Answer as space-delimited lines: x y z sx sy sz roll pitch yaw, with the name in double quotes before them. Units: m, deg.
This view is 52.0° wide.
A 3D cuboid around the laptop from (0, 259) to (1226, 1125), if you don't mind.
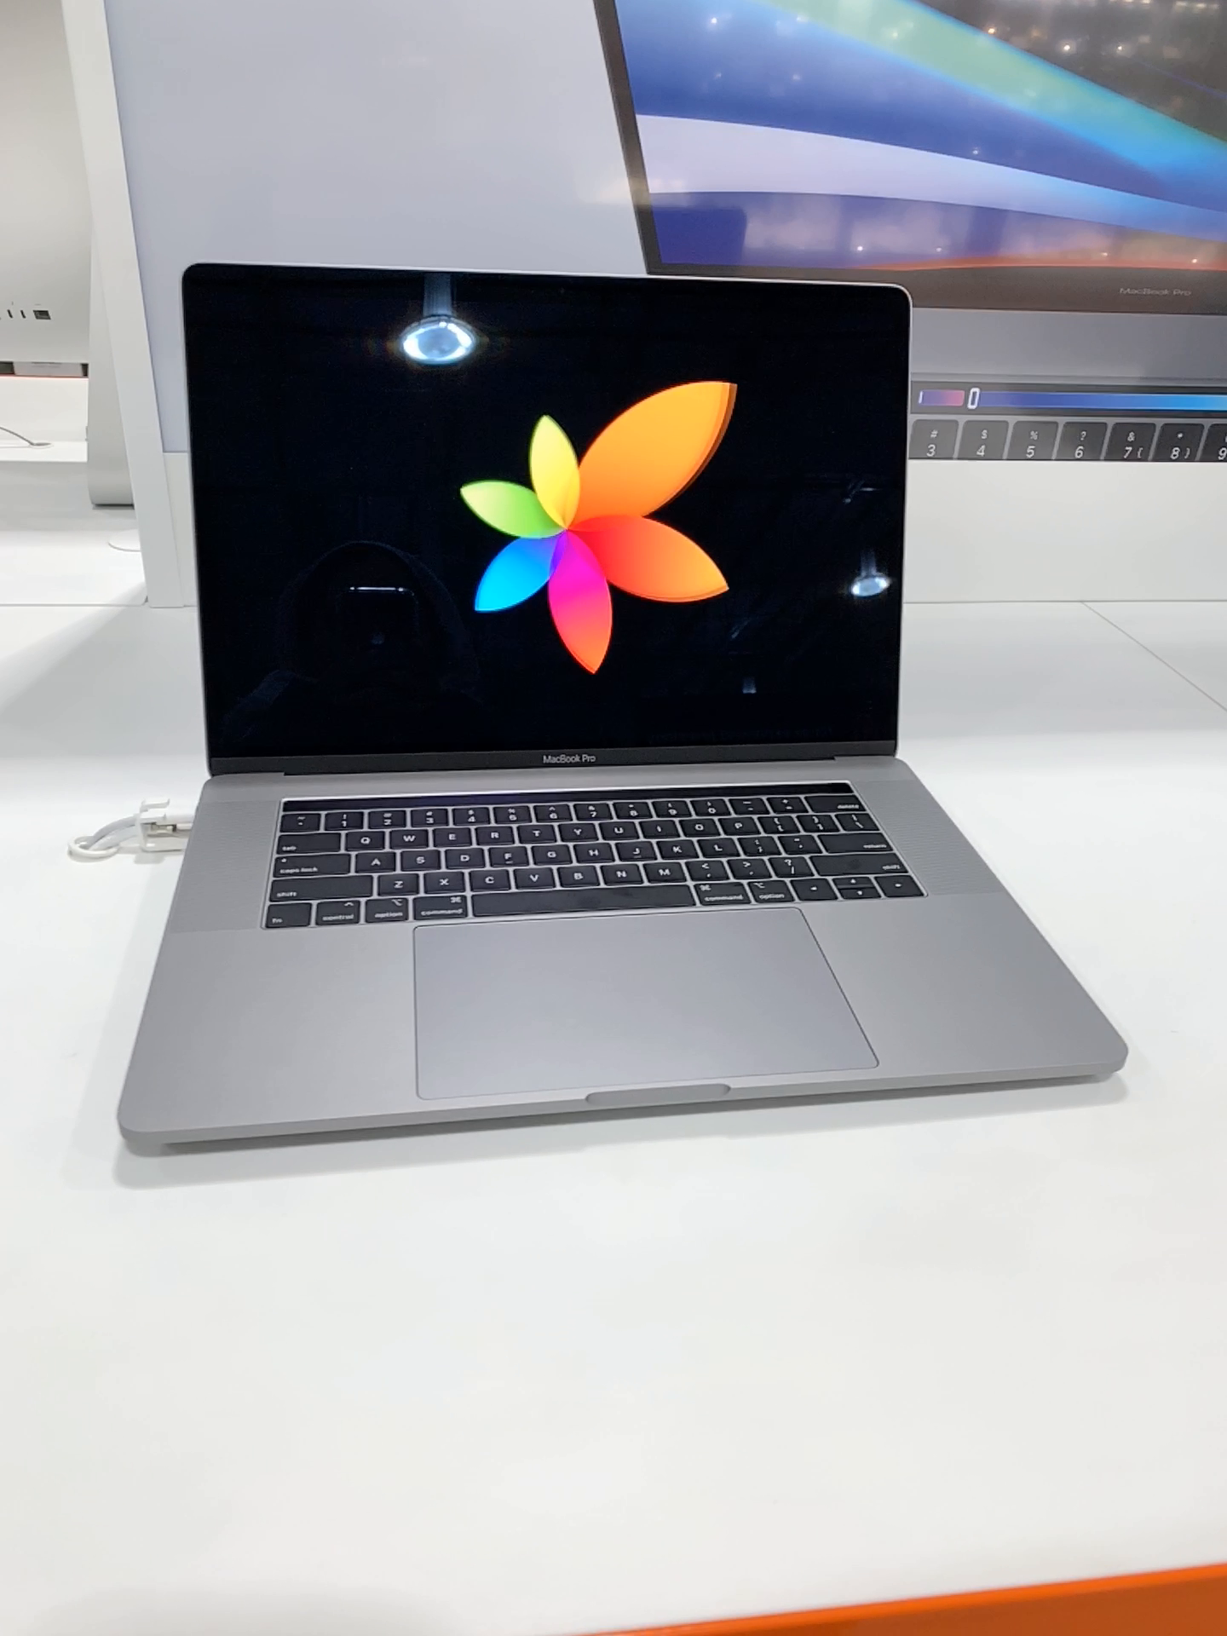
"laptop" -0.005 -0.077 0.482 0.330 0.205 0.304 -2 29 -10
